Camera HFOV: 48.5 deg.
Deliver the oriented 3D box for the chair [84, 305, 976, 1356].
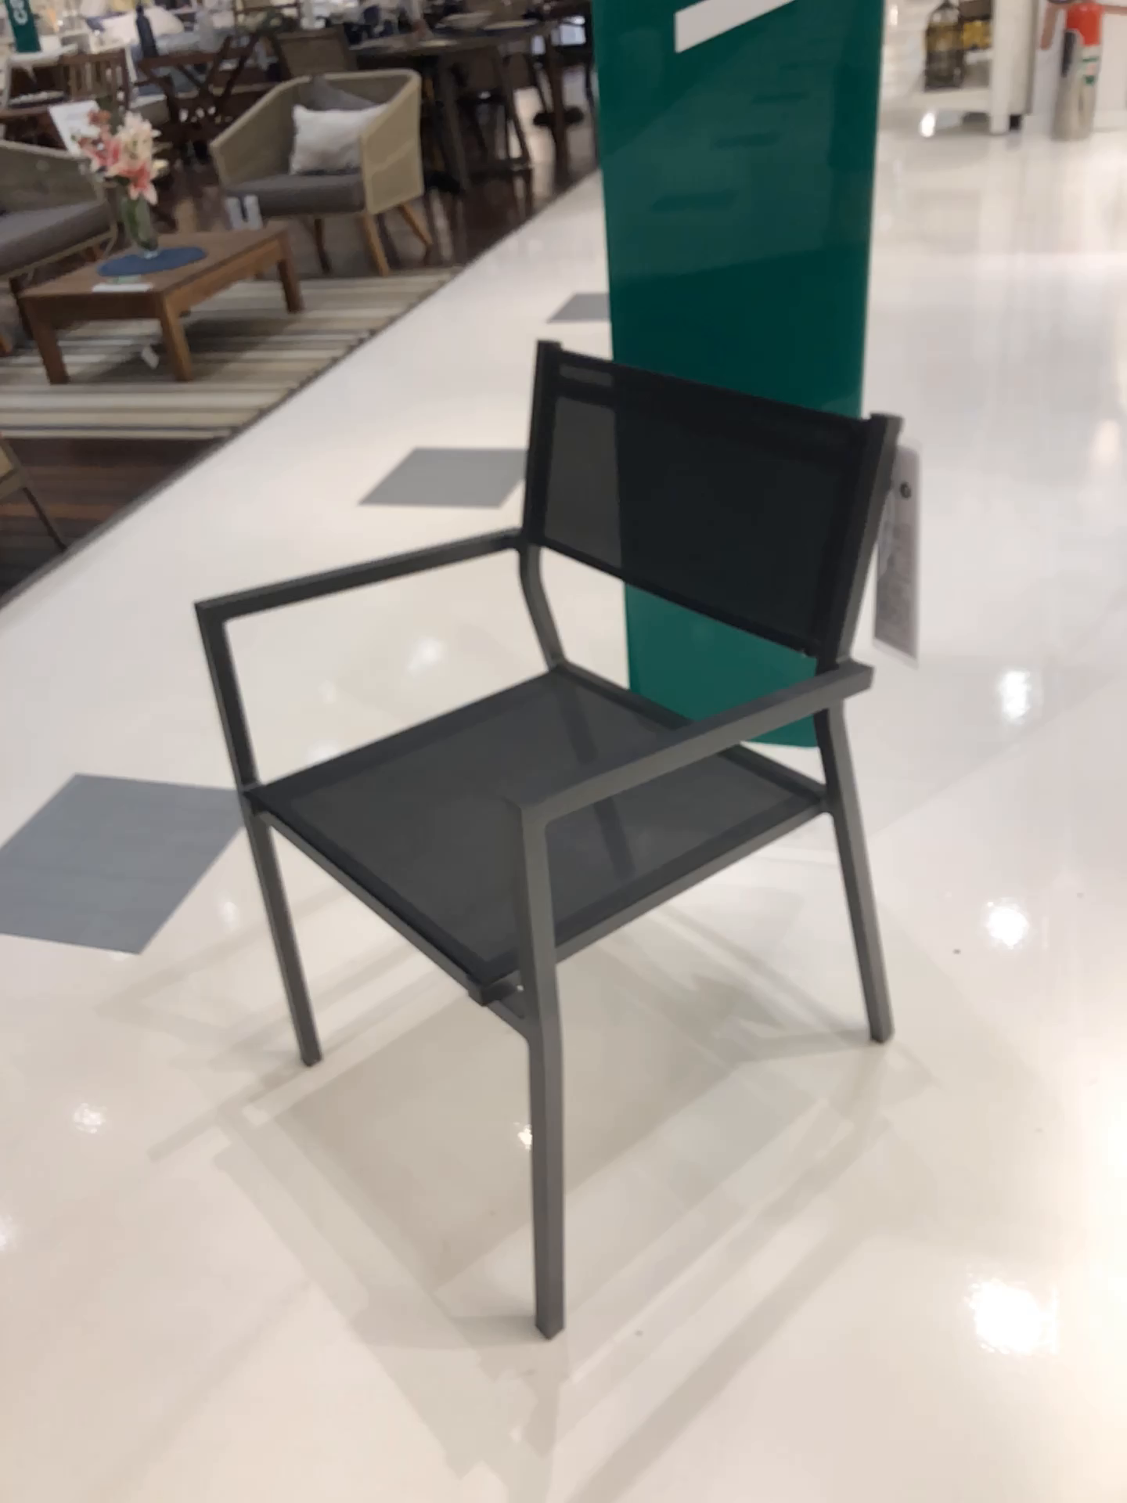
[{"bbox_3d":[-0.004,0.031,1.358,0.602,0.794,0.573,-28,38,-29],"label":"chair"}]
